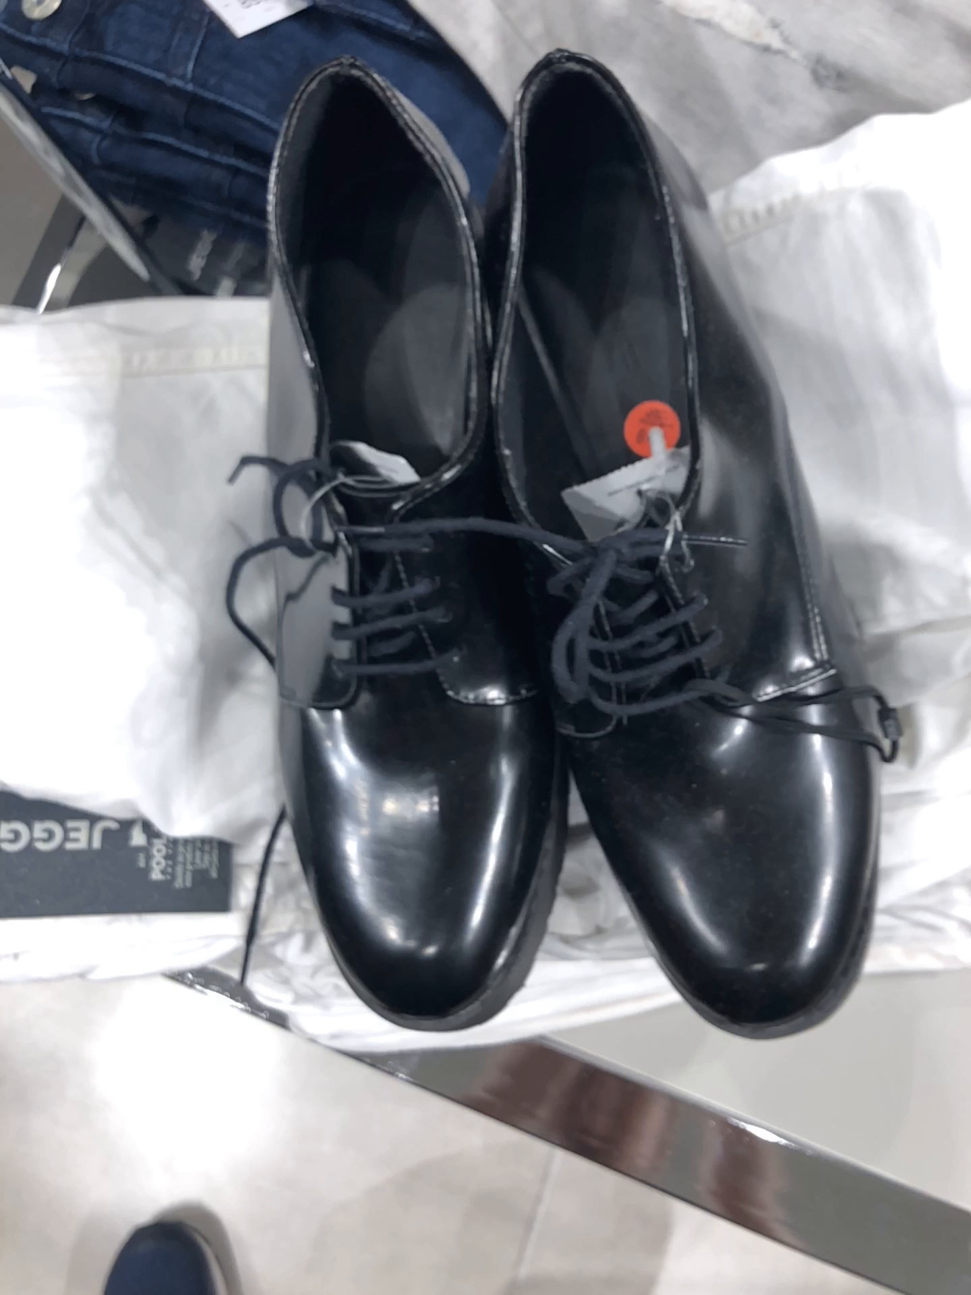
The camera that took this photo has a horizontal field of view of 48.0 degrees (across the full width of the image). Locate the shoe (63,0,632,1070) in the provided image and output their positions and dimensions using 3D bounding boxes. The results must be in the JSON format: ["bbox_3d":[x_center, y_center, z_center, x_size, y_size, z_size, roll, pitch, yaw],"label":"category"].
[{"bbox_3d":[-0.024,-0.022,0.323,0.100,0.160,0.260,-6,72,11],"label":"shoe"}]

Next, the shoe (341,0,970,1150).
[{"bbox_3d":[0.049,-0.020,0.304,0.100,0.150,0.260,-13,72,9],"label":"shoe"}]
